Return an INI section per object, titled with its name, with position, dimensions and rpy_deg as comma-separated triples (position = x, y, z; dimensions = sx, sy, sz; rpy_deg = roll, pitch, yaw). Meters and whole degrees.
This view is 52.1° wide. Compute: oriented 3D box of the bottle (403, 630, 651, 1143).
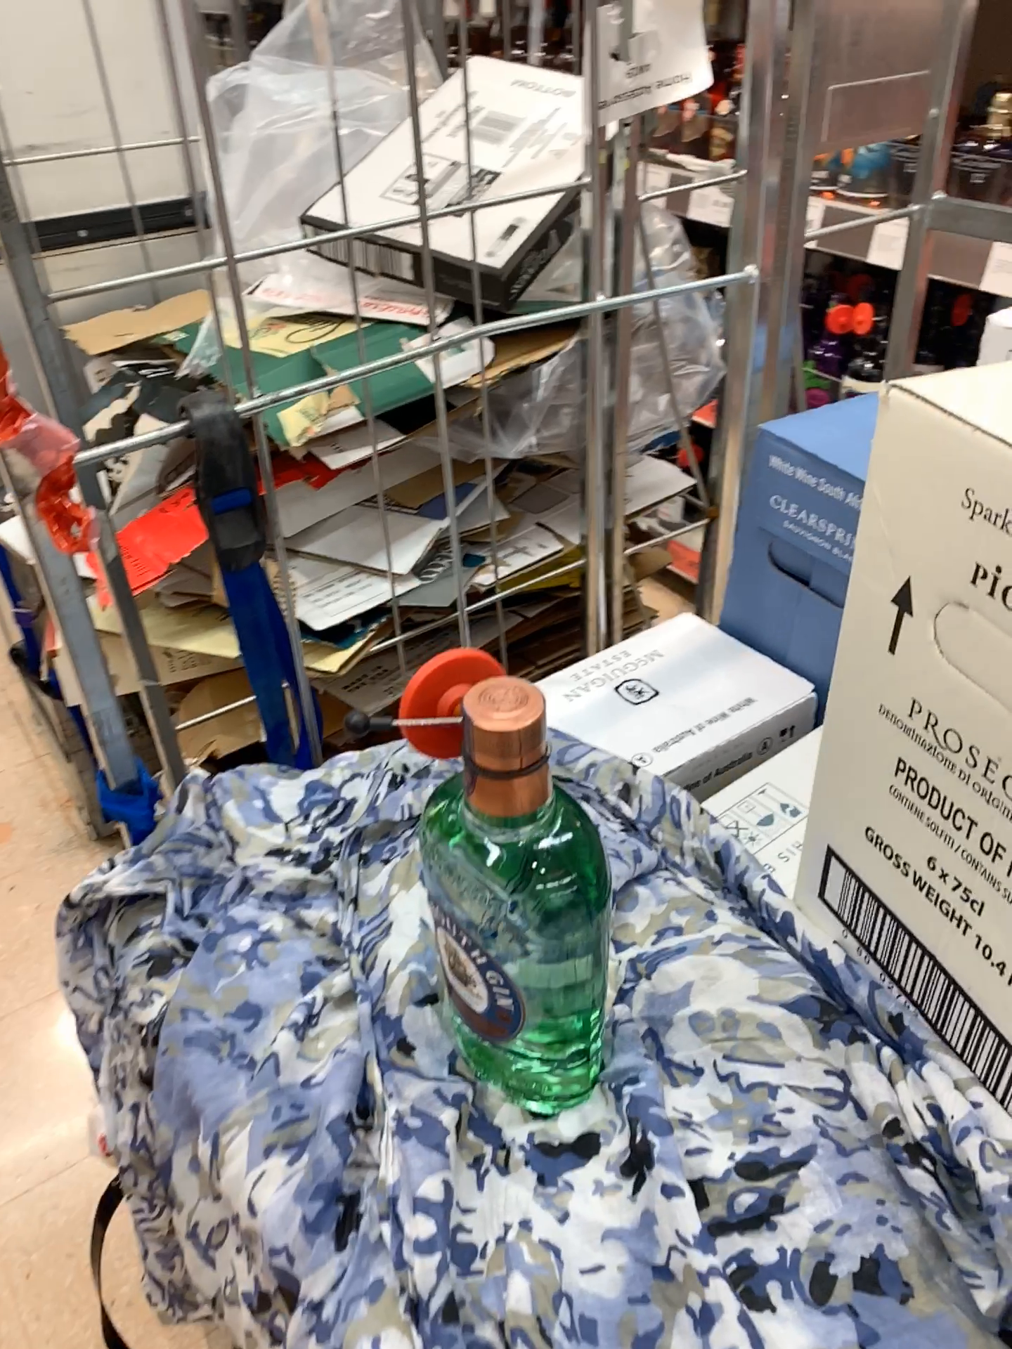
[bottle]
position = 0.009, 0.105, 0.489
dimensions = 0.058, 0.228, 0.095
rpy_deg = -22, 40, -27
